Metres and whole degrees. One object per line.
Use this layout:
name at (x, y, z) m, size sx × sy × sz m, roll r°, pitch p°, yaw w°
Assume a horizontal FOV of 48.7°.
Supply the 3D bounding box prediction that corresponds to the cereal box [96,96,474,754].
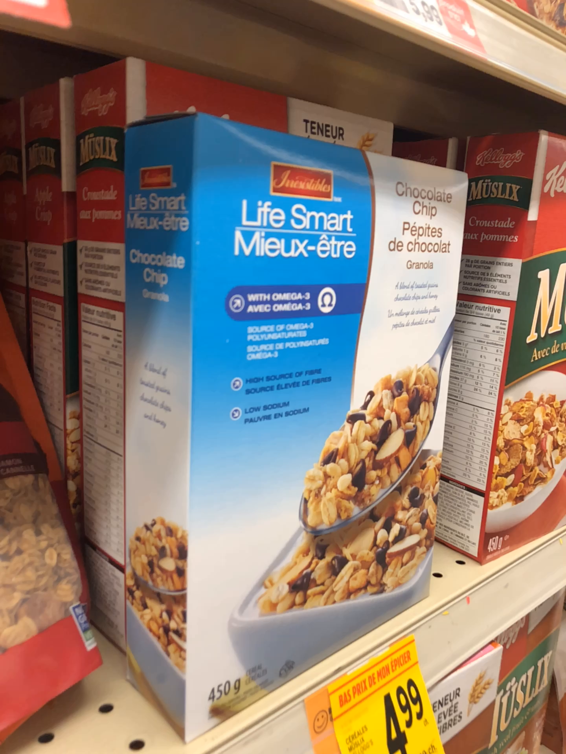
cereal box at (0.009, 0.020, 0.290) m, size 0.180 × 0.239 × 0.050 m, roll -6°, pitch 13°, yaw -44°
